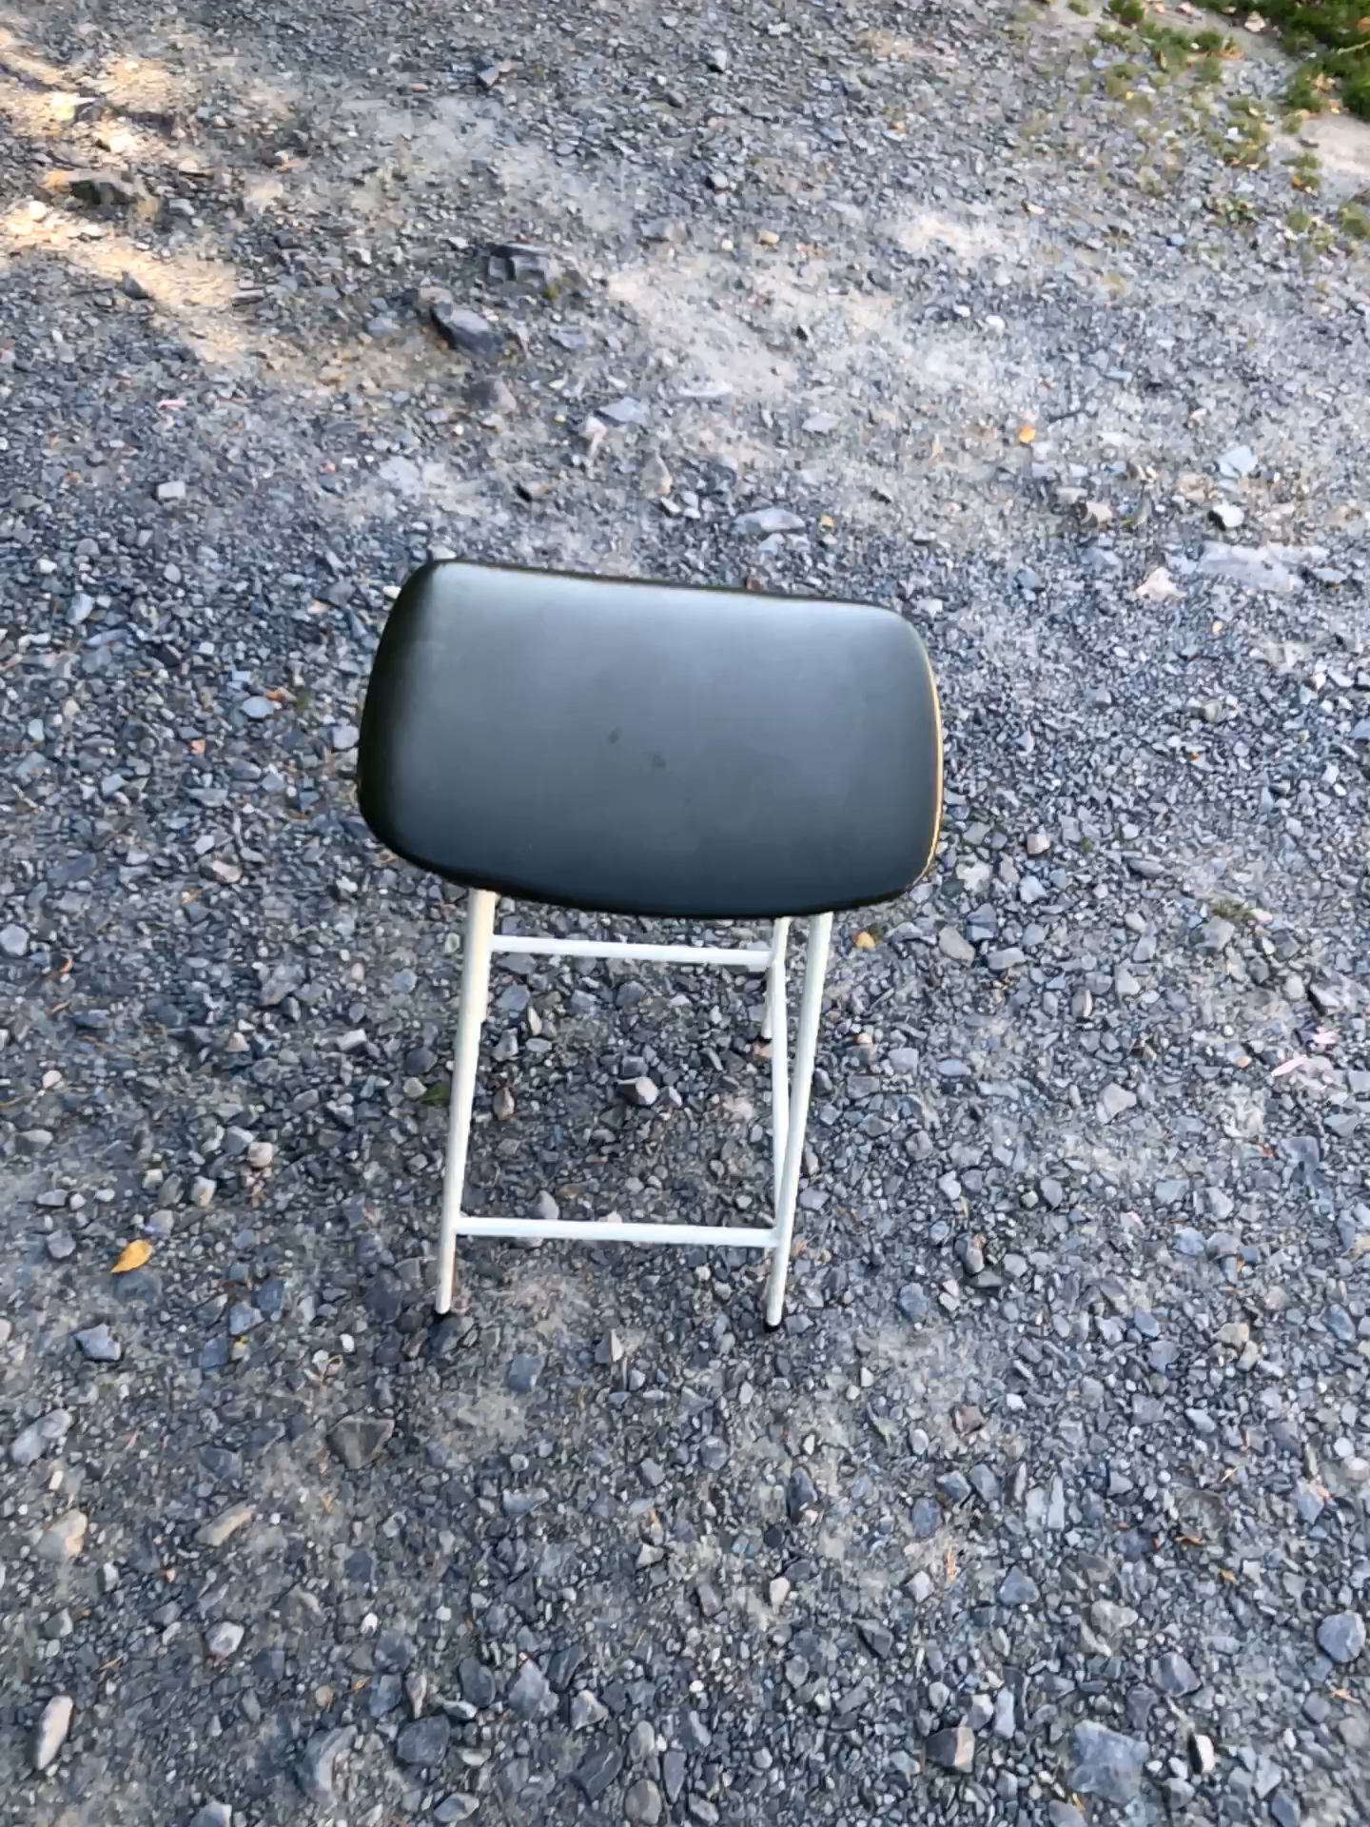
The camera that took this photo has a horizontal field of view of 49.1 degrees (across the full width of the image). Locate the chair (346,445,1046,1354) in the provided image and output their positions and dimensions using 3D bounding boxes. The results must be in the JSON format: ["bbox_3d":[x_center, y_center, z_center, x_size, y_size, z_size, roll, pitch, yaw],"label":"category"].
[{"bbox_3d":[-0.036,0.045,1.153,0.370,0.646,0.372,5,56,-7],"label":"chair"}]
